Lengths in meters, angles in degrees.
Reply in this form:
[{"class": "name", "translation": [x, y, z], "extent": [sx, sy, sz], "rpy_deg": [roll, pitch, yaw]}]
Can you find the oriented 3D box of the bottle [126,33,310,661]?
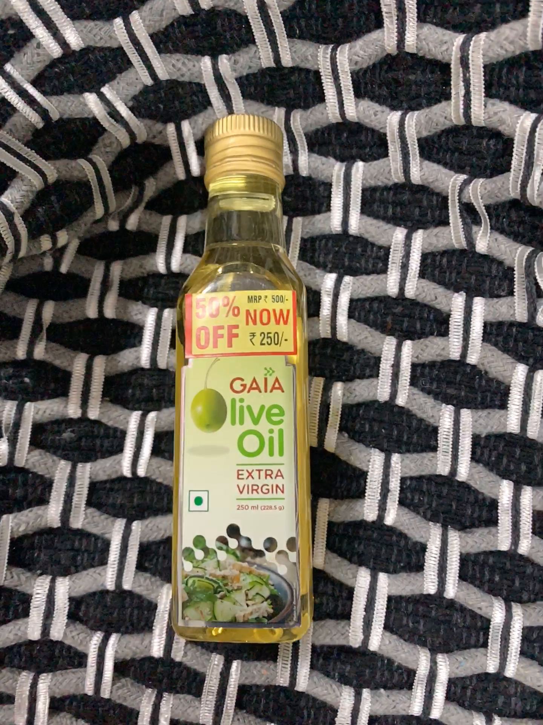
[{"class": "bottle", "translation": [-0.013, -0.009, 0.196], "extent": [0.050, 0.050, 0.190], "rpy_deg": [-1, 81, 6]}]
